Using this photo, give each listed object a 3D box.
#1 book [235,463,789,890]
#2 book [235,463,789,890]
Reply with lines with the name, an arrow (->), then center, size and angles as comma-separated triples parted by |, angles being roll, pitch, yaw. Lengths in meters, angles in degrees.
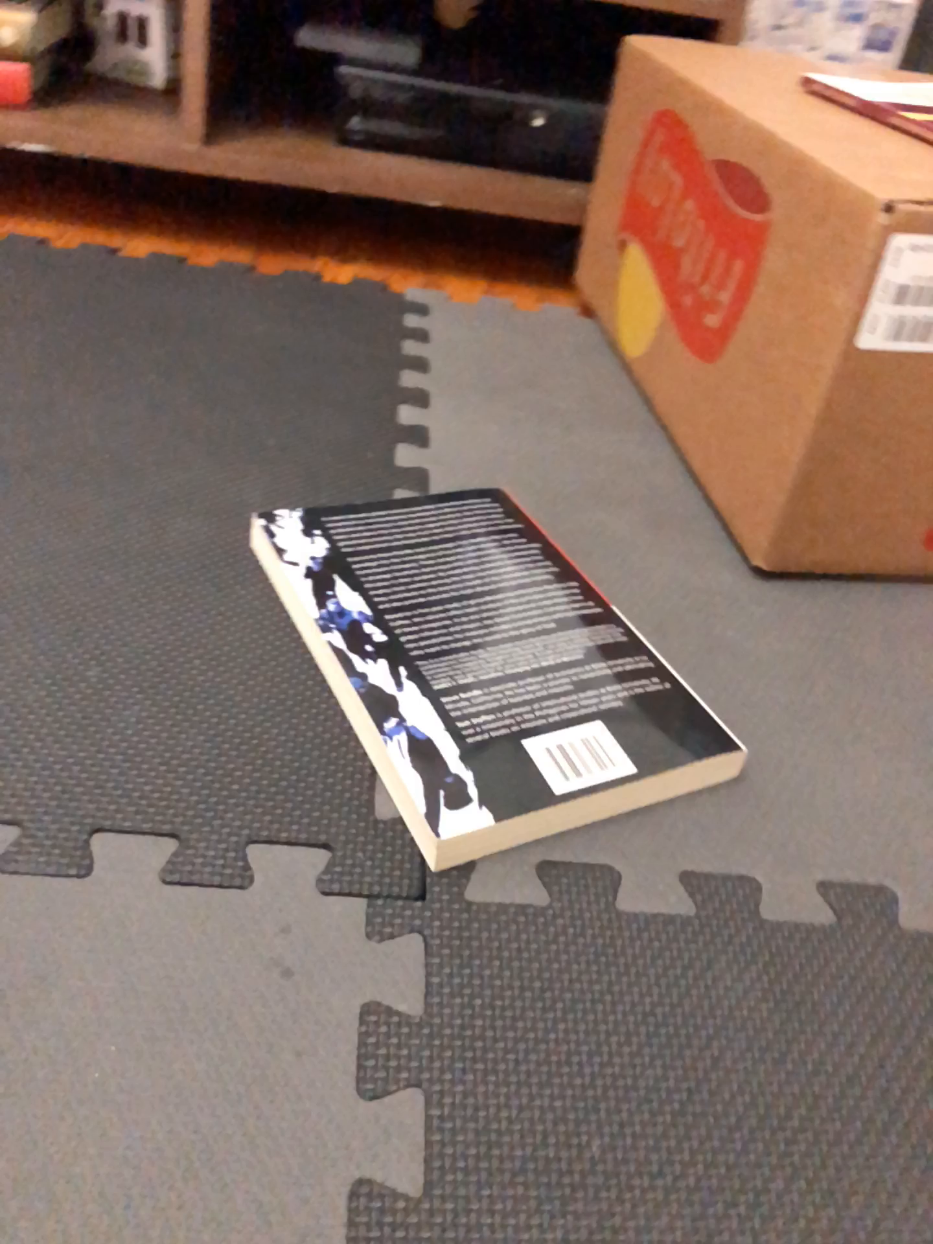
book -> 0.006, 0.002, 0.453 | 0.150, 0.020, 0.231 | -11, 41, -26
book -> 0.006, 0.002, 0.453 | 0.150, 0.020, 0.231 | -11, 41, -26
